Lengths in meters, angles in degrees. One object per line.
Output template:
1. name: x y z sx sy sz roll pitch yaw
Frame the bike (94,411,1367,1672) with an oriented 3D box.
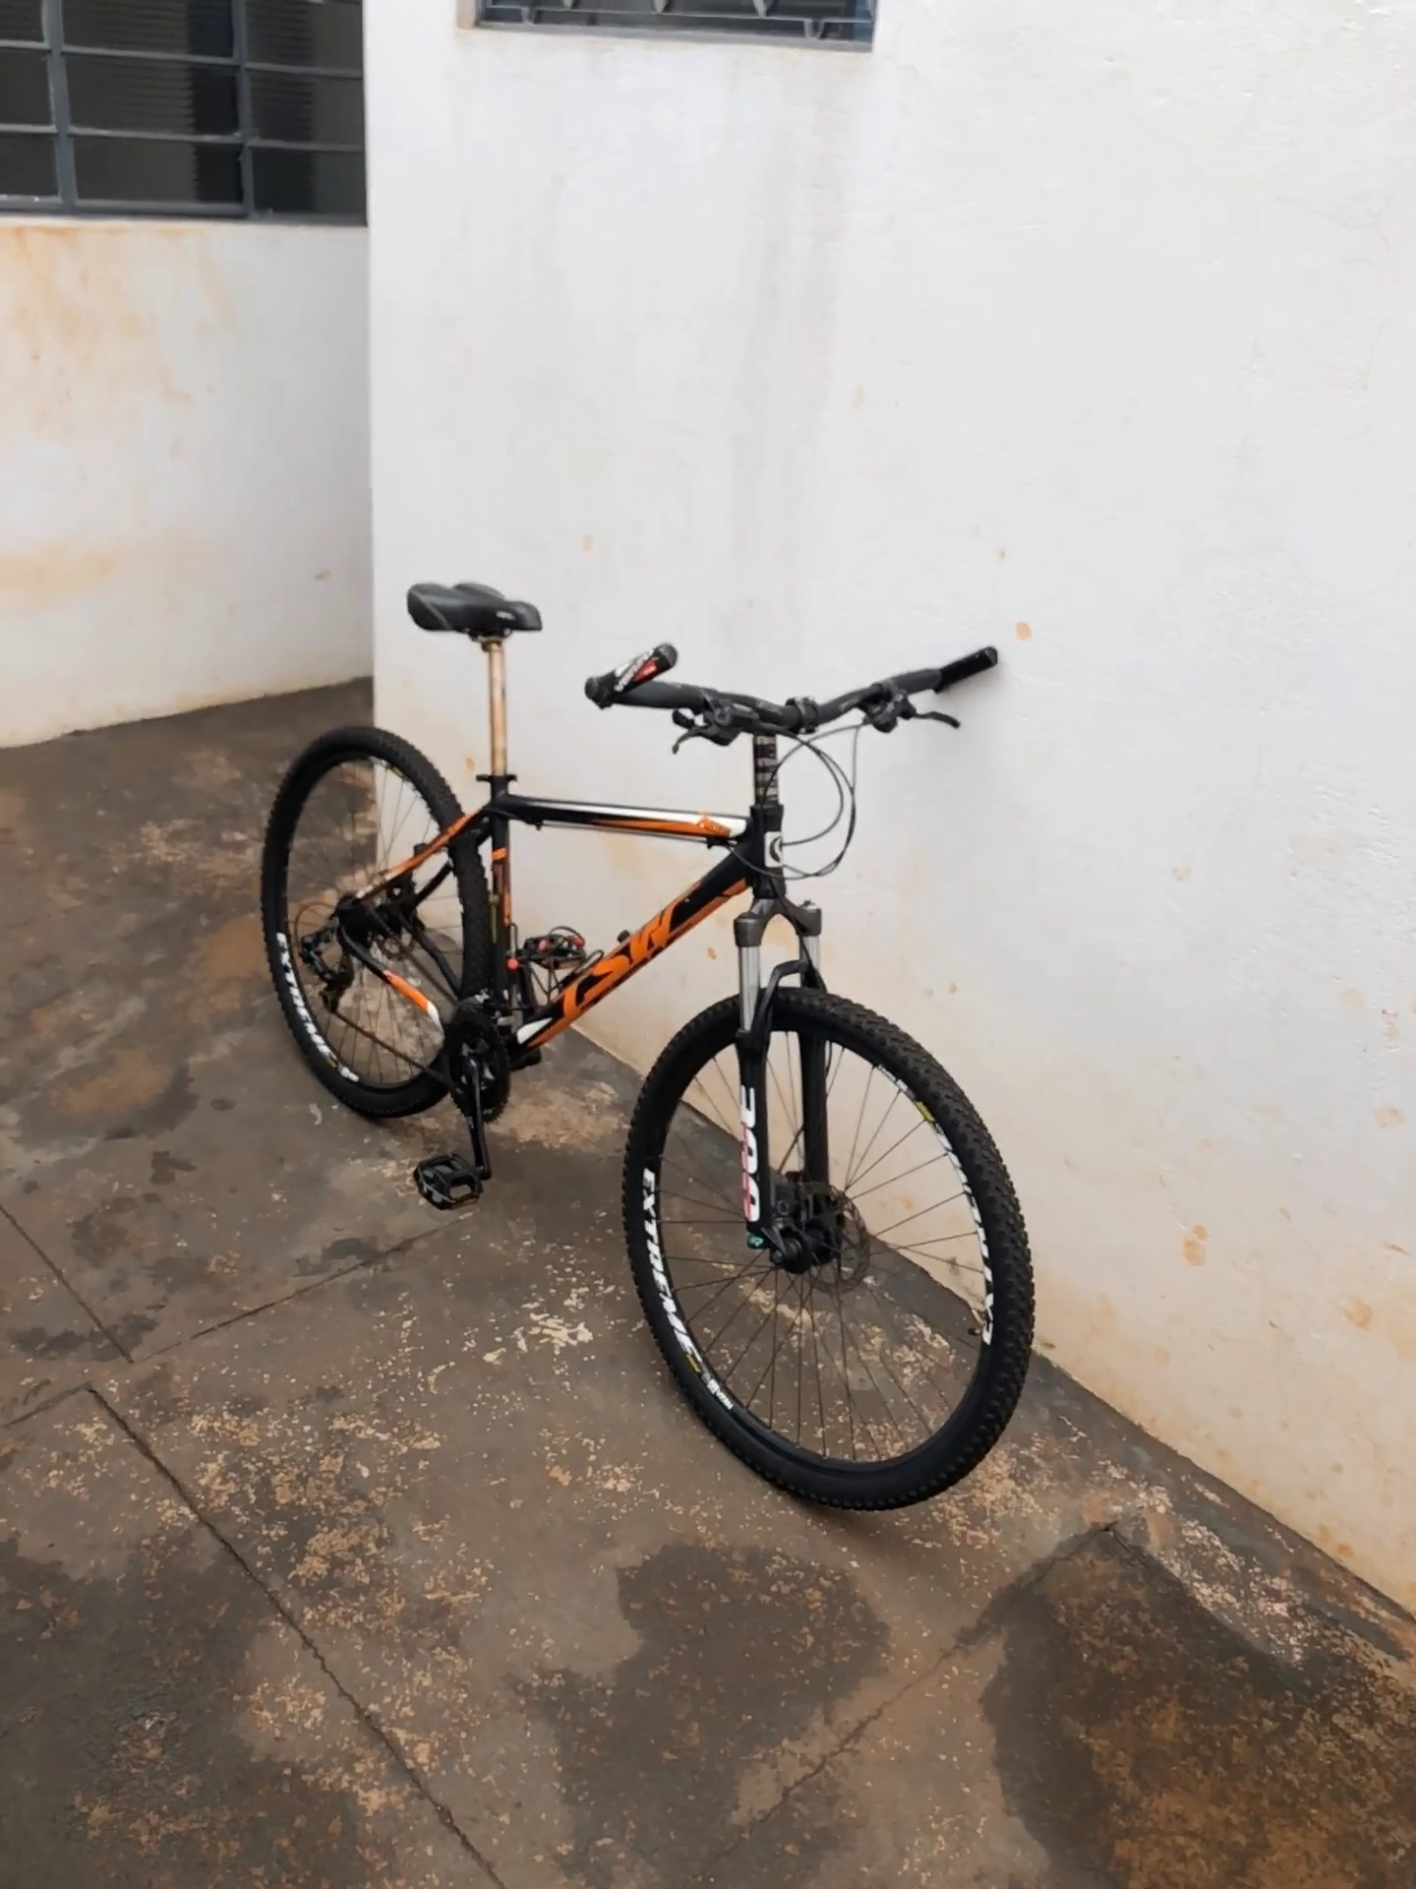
1. bike: -0.143 -0.069 2.367 0.724 1.084 1.767 -20 36 -40
